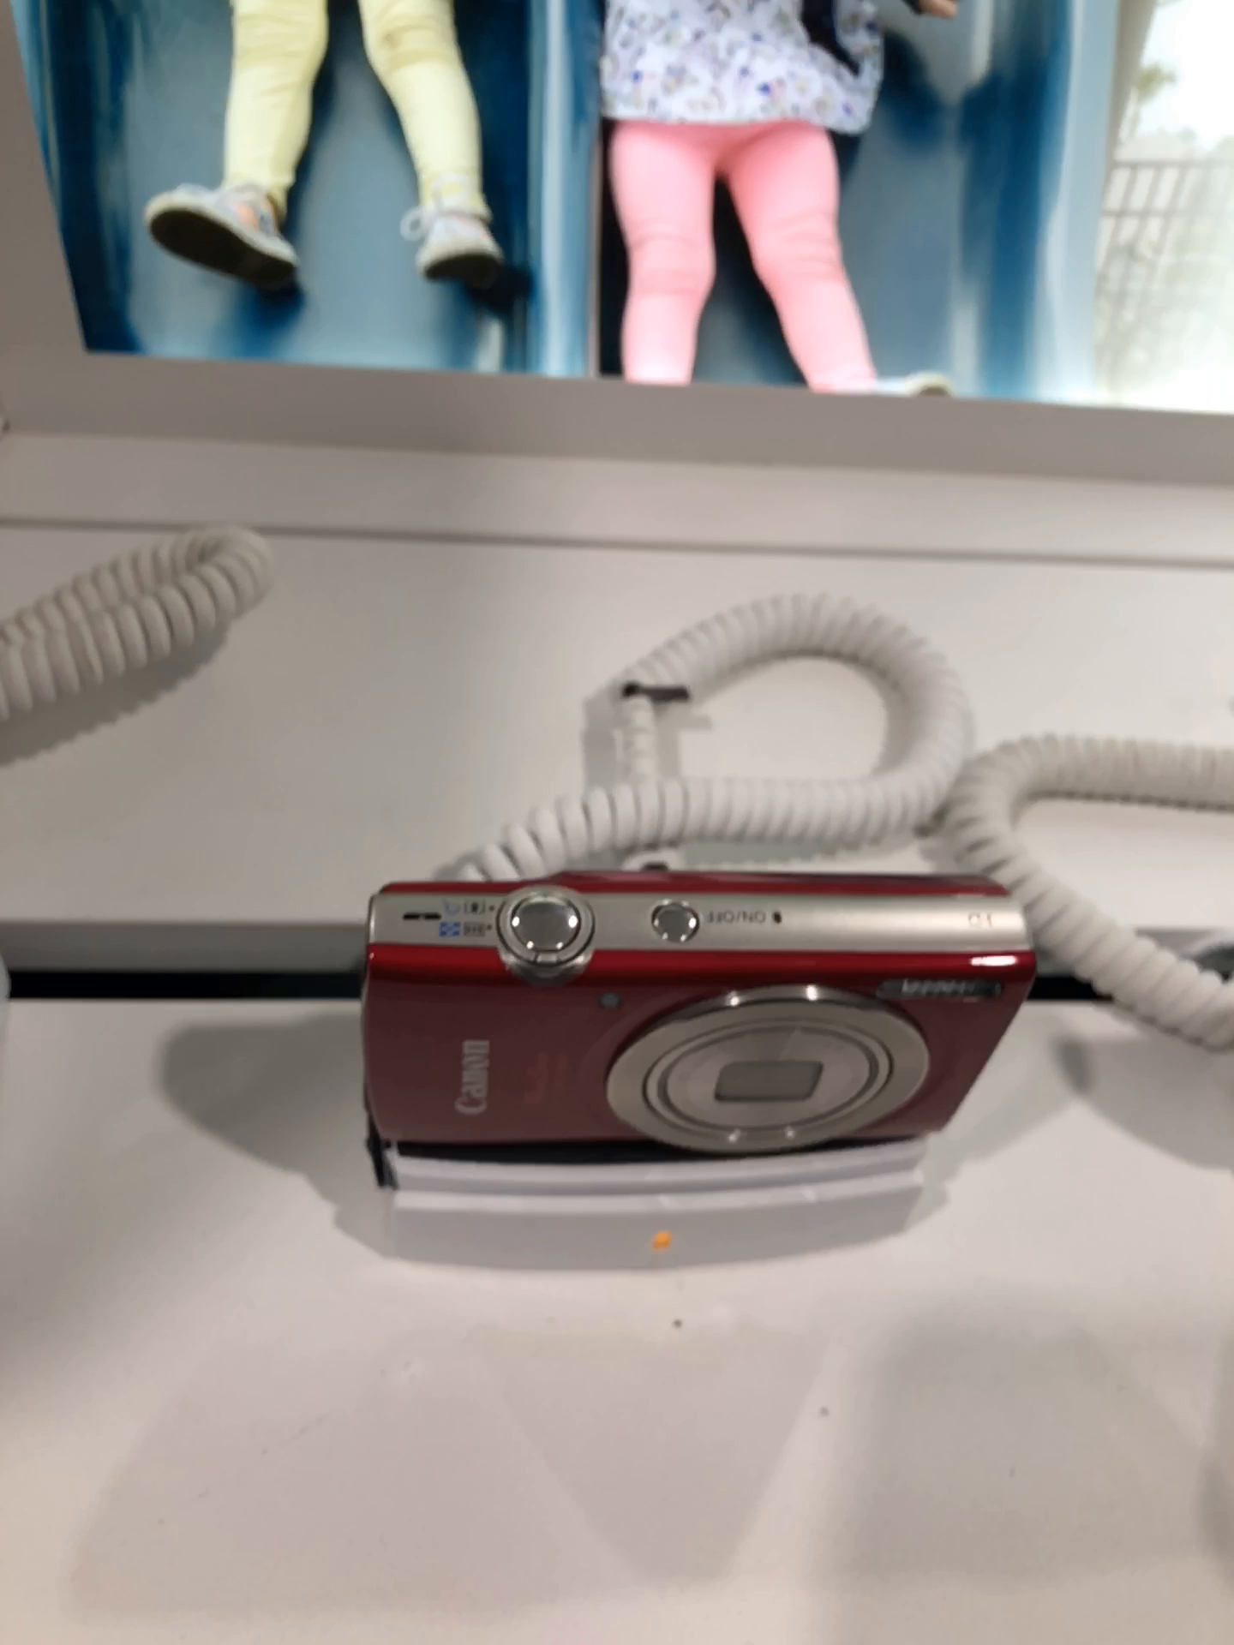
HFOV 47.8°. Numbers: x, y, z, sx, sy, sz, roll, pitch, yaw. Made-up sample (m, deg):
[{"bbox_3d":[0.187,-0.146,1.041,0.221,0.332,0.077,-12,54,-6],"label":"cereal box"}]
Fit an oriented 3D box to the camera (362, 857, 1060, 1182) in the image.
[{"bbox_3d":[0.011,0.030,0.208,0.093,0.050,0.022,0,48,-7],"label":"camera"}]
